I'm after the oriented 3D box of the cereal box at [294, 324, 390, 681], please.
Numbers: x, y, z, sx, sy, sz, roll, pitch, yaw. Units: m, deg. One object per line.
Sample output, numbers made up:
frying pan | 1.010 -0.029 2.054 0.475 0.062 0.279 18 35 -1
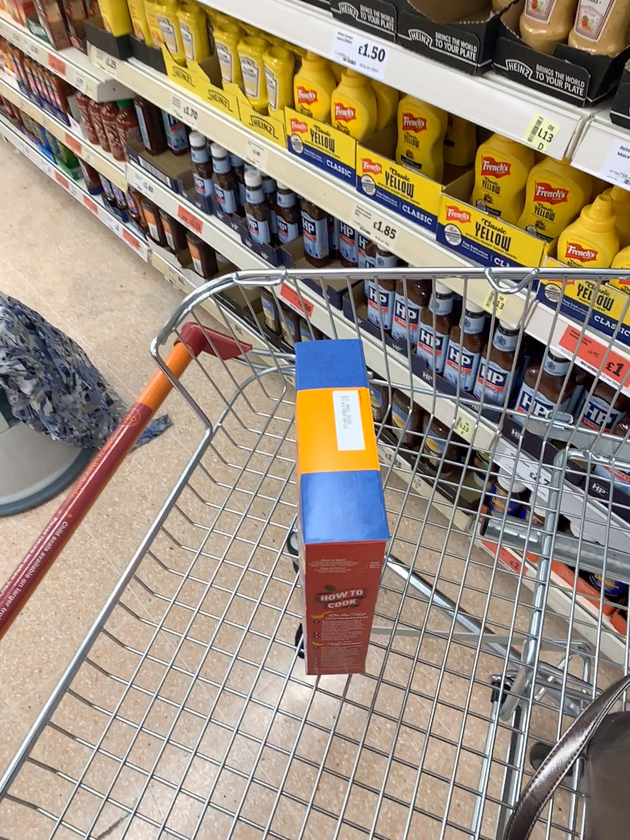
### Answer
cereal box | 0.013 0.079 0.528 0.050 0.258 0.182 -2 51 -2
